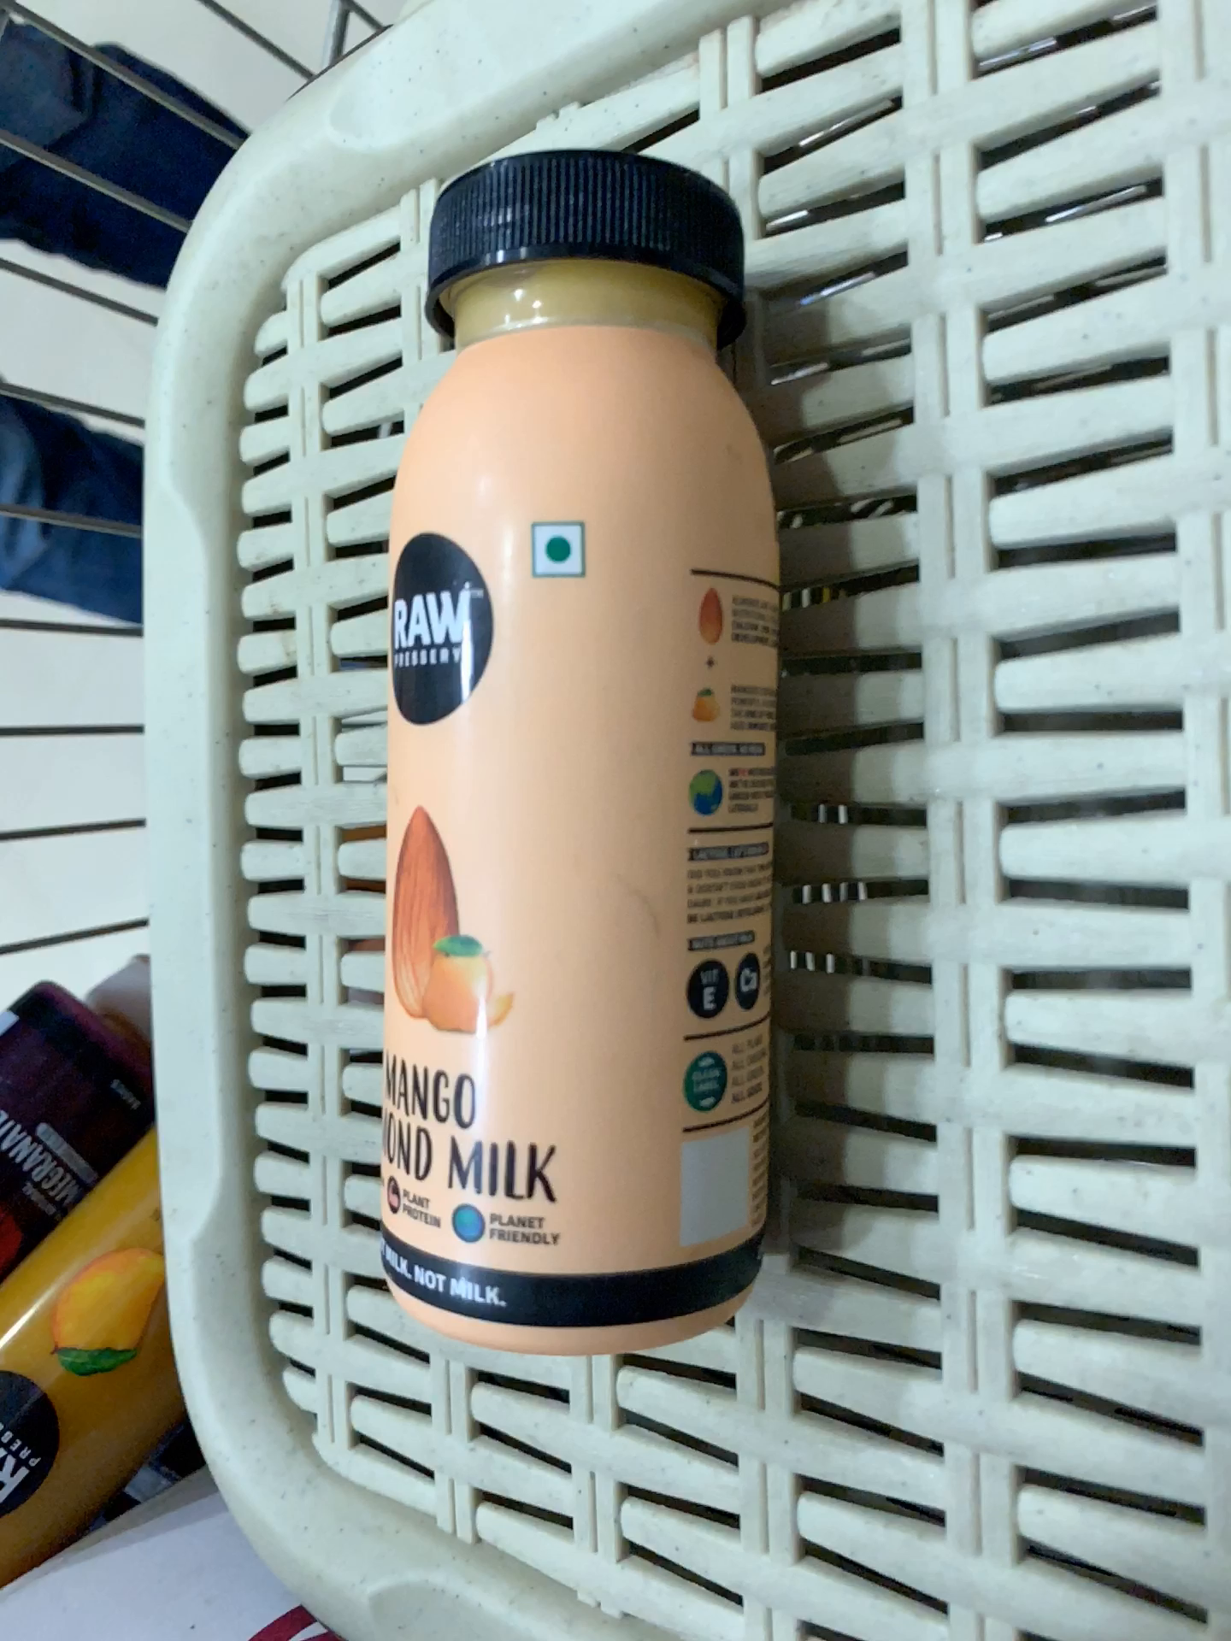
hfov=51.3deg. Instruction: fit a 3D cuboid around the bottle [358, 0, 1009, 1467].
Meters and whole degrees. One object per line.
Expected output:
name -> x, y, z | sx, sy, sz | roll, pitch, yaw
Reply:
bottle -> 0.007, -0.015, 0.154 | 0.060, 0.040, 0.150 | 4, 93, 36
